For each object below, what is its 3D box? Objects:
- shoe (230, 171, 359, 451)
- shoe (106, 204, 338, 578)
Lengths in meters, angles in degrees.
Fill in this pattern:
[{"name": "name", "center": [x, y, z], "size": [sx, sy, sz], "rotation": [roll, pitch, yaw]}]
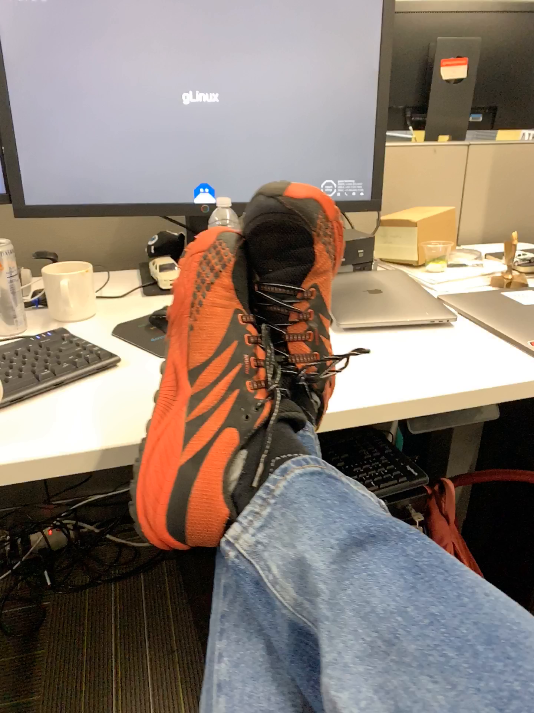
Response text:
[{"name": "shoe", "center": [0.037, -0.044, 0.573], "size": [0.107, 0.271, 0.083], "rotation": [3, 26, 15]}, {"name": "shoe", "center": [-0.030, 0.022, 0.484], "size": [0.132, 0.289, 0.091], "rotation": [6, -11, 18]}]
